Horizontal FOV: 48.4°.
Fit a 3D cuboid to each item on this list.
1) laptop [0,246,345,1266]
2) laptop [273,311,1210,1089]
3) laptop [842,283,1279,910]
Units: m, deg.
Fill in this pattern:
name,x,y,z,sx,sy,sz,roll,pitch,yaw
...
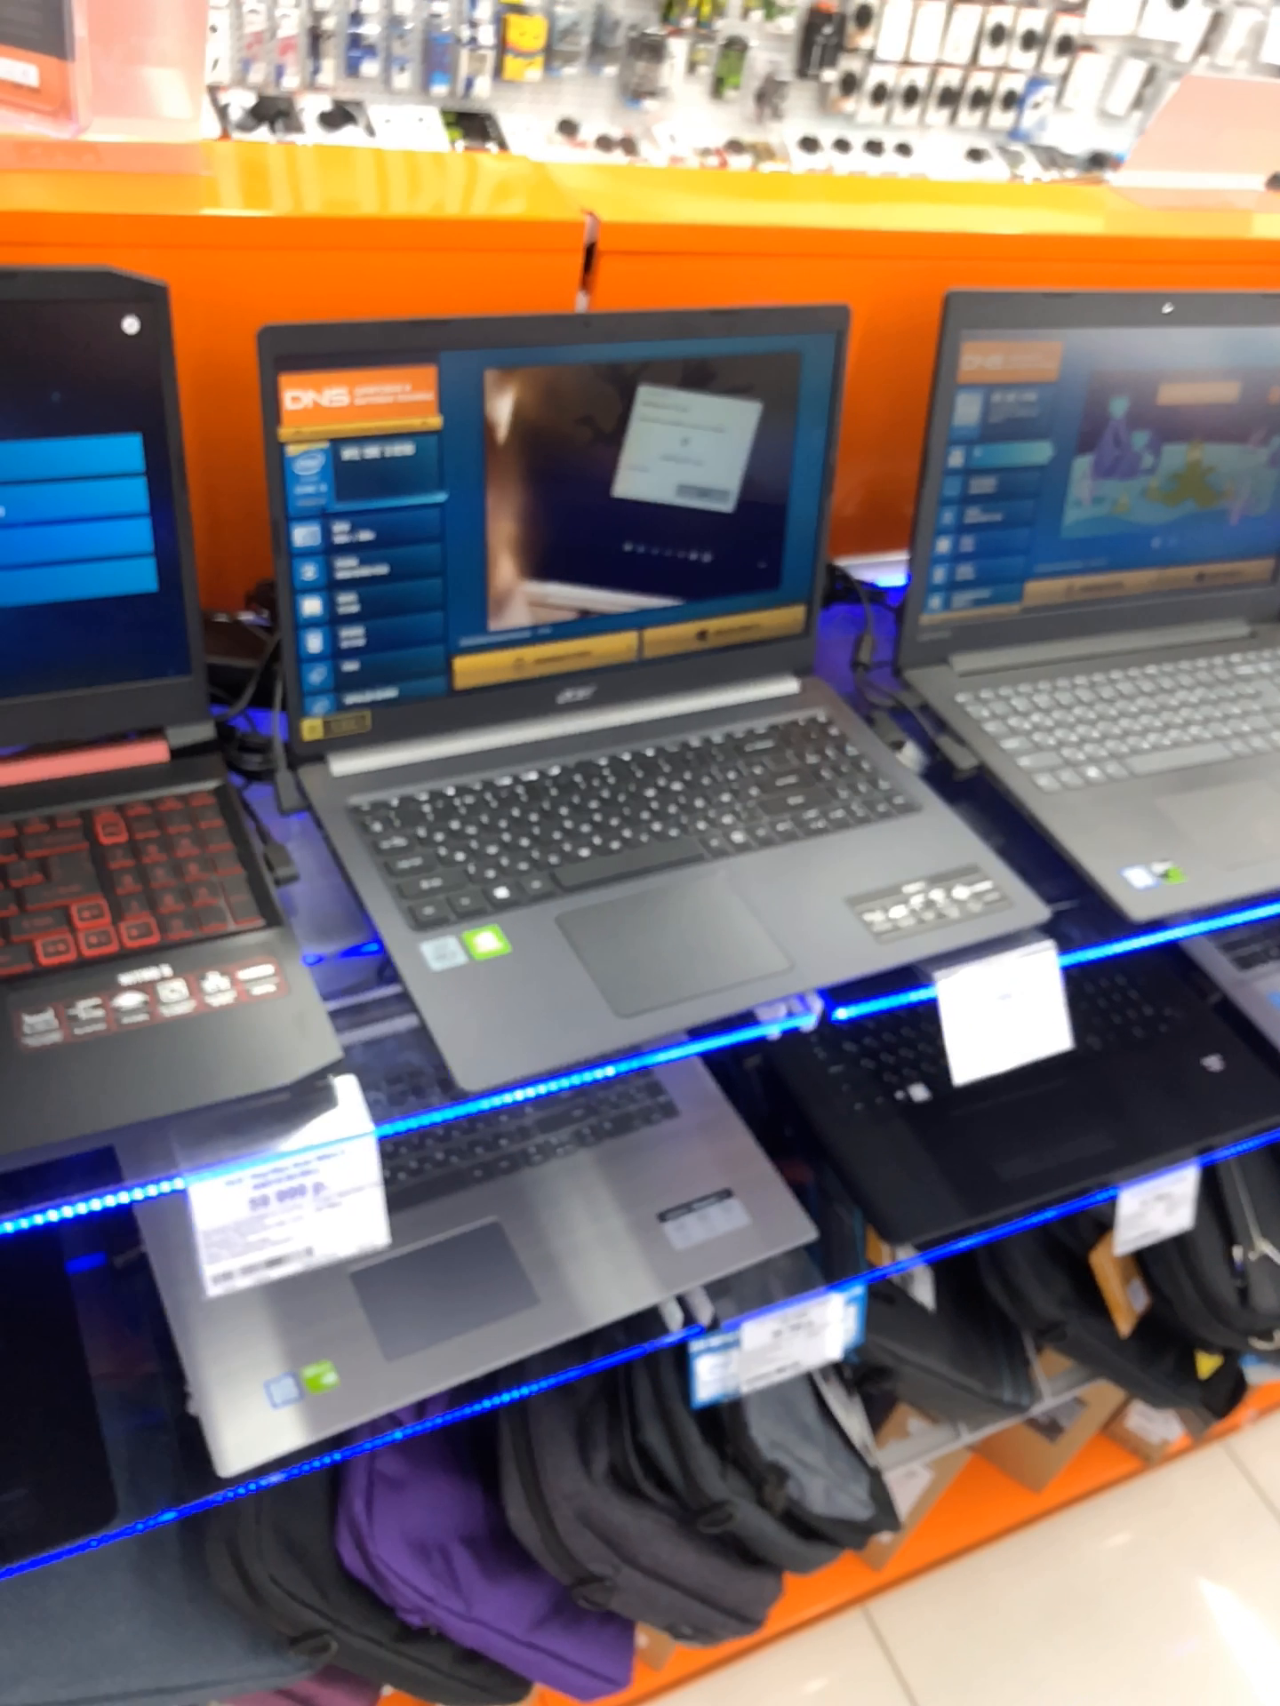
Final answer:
name,x,y,z,sx,sy,sz,roll,pitch,yaw
laptop,-0.329,-0.066,0.583,0.309,0.231,0.301,-13,46,-30
laptop,0.025,-0.109,0.751,0.353,0.224,0.303,-13,46,-27
laptop,0.398,-0.184,0.923,0.349,0.230,0.323,-11,46,-25
